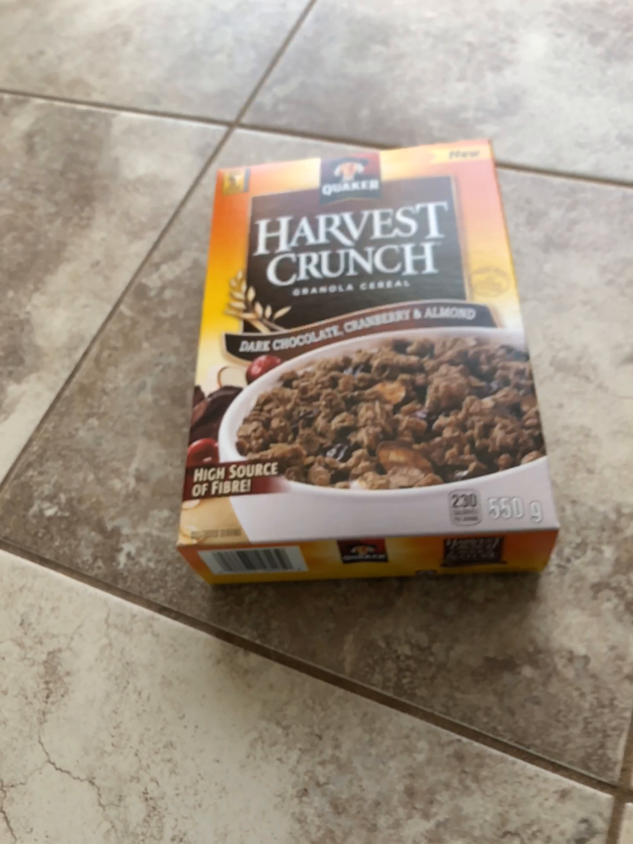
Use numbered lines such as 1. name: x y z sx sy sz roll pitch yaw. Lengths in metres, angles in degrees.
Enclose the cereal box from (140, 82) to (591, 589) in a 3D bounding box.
1. cereal box: 0.021 -0.052 0.361 0.170 0.070 0.251 -4 59 8
